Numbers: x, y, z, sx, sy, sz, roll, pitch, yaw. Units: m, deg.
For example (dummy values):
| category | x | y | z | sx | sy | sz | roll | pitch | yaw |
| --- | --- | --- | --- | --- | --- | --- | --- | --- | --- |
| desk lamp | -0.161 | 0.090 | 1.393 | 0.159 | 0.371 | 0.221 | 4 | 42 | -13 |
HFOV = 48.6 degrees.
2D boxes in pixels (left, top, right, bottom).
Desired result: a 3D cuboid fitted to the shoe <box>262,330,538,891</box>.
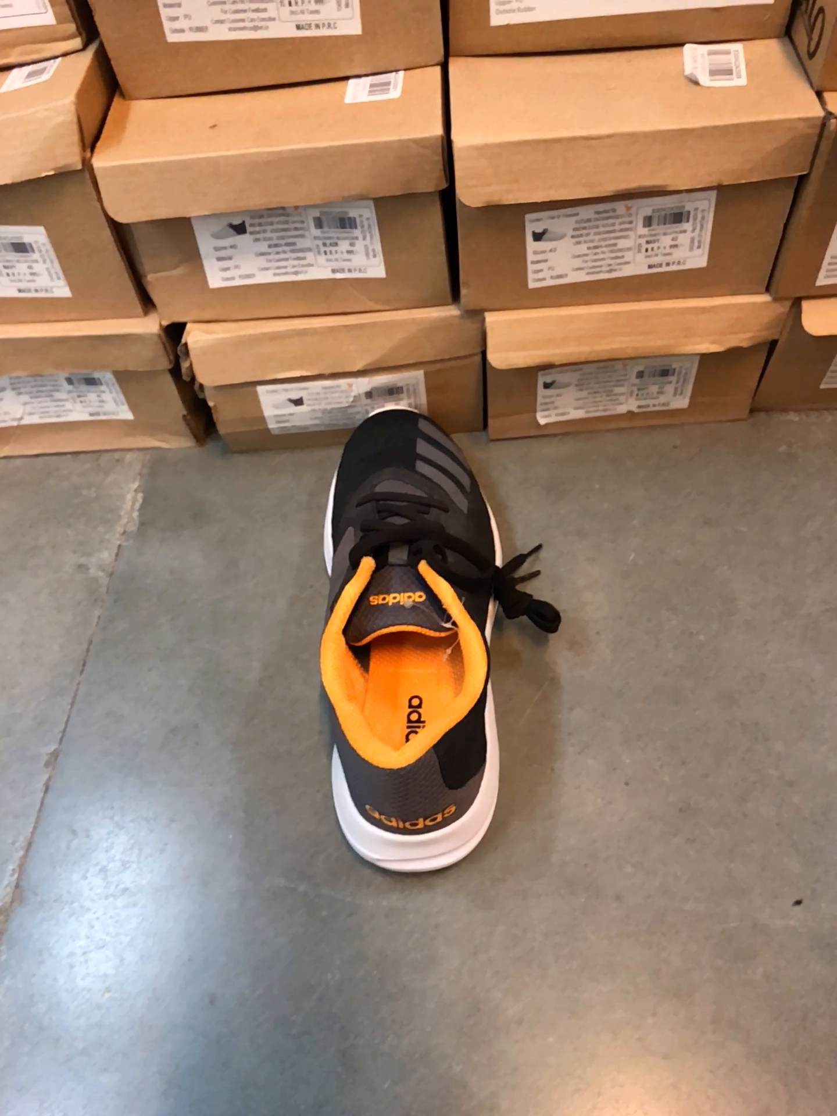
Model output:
| category | x | y | z | sx | sy | sz | roll | pitch | yaw |
| --- | --- | --- | --- | --- | --- | --- | --- | --- | --- |
| shoe | -0.006 | 0.020 | 0.492 | 0.110 | 0.117 | 0.272 | -3 | 55 | 2 |
